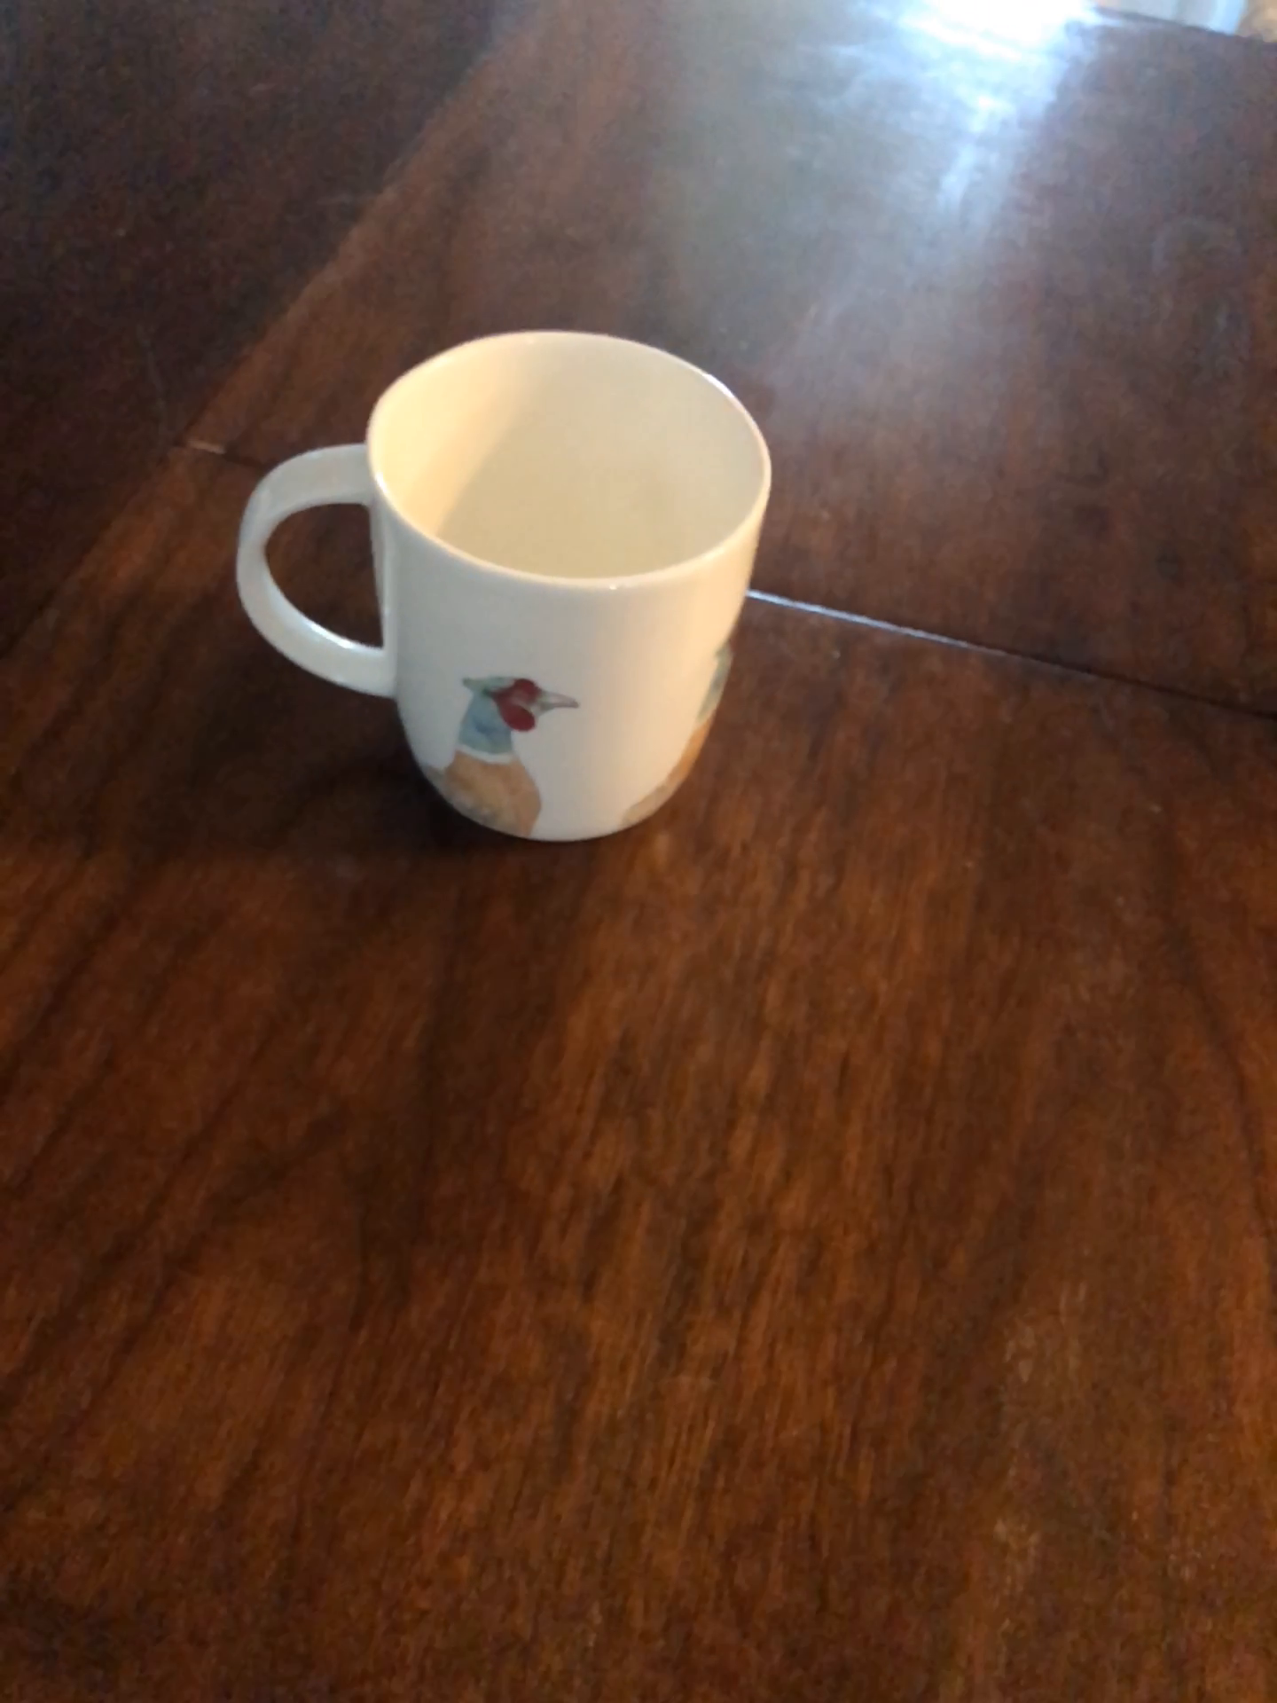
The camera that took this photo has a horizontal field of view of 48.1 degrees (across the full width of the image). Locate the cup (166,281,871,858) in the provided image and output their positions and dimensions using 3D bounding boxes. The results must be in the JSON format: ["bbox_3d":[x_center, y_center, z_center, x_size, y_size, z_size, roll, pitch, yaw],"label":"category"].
[{"bbox_3d":[-0.027,-0.062,0.327,0.130,0.090,0.090,0,51,-6],"label":"cup"}]
